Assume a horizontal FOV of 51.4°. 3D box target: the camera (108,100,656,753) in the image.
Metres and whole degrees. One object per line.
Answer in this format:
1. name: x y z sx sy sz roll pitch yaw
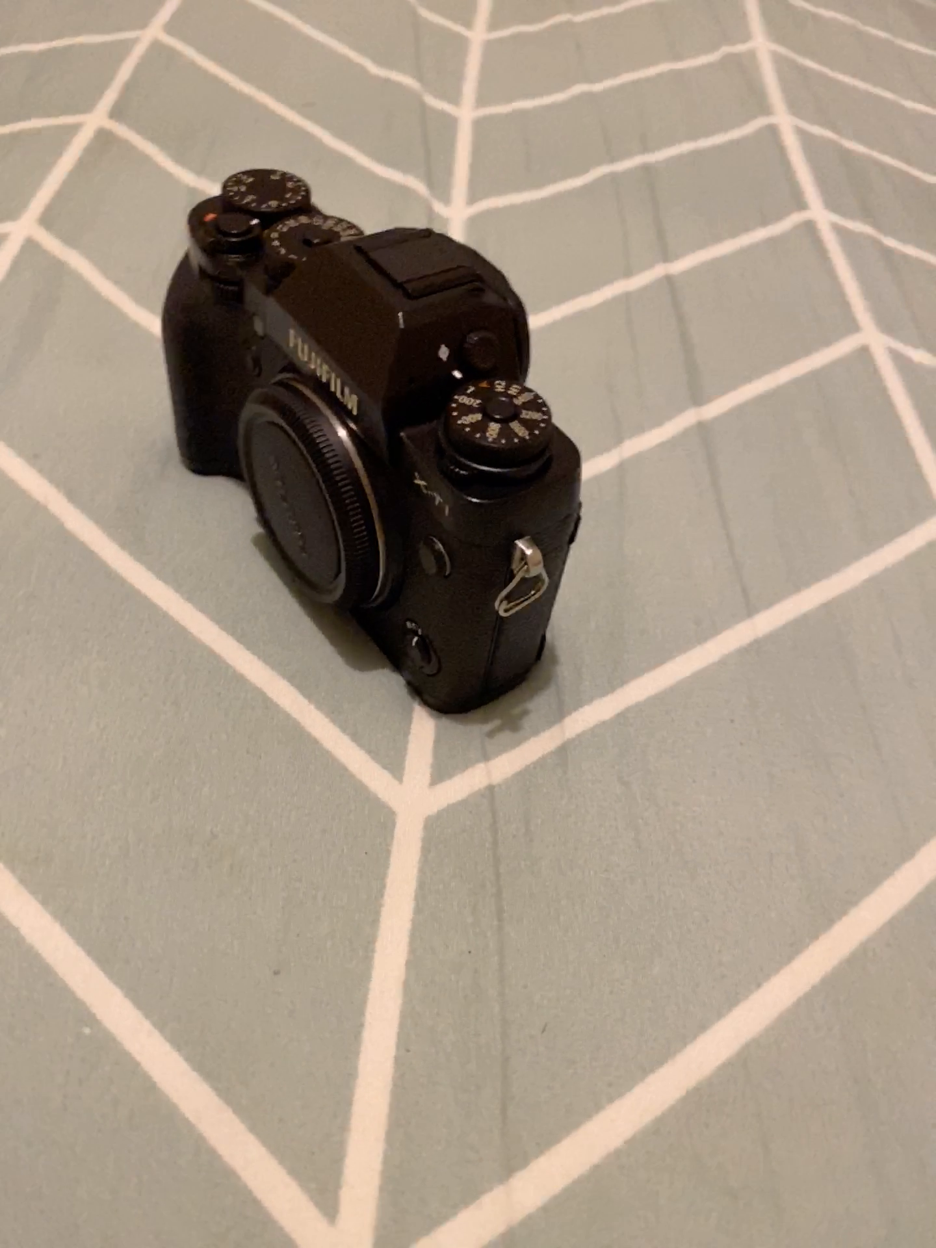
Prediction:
1. camera: -0.028 -0.051 0.236 0.052 0.087 0.130 -27 58 -26
